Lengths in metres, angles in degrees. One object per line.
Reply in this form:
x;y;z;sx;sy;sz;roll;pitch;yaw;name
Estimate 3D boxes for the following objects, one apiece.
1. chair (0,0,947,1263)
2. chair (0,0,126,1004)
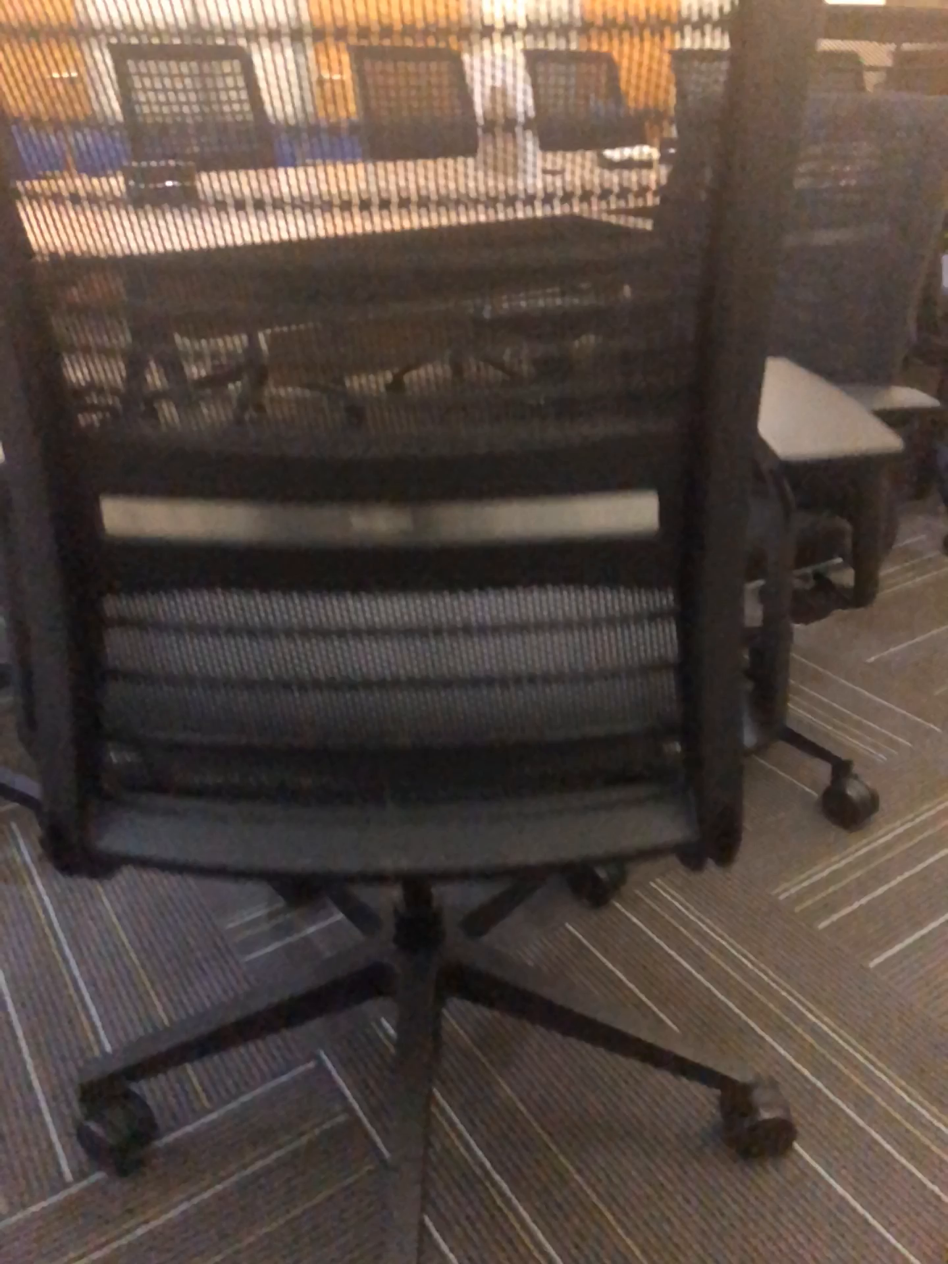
-0.051;-0.019;0.846;0.720;0.962;0.716;-1;26;-1;chair
-0.912;-0.235;1.299;0.731;0.962;0.725;-7;27;-12;chair
